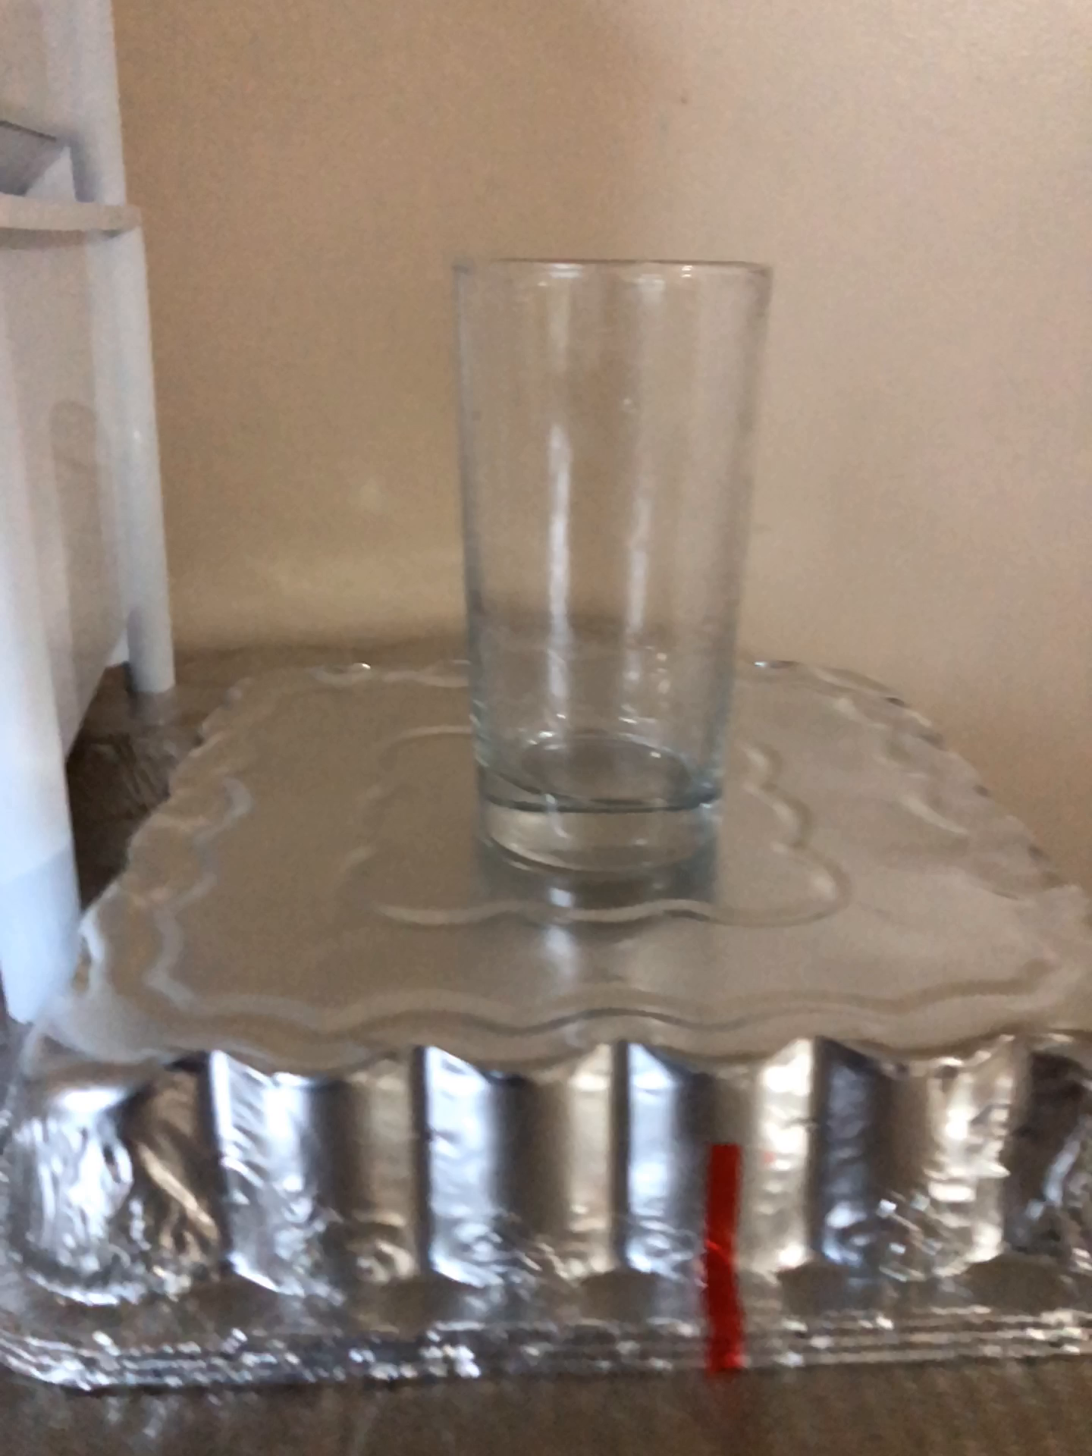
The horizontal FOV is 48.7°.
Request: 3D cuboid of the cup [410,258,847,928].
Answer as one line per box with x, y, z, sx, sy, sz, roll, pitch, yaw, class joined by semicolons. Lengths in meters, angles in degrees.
0.011;-0.032;0.250;0.060;0.119;0.060;2;21;-1;cup
